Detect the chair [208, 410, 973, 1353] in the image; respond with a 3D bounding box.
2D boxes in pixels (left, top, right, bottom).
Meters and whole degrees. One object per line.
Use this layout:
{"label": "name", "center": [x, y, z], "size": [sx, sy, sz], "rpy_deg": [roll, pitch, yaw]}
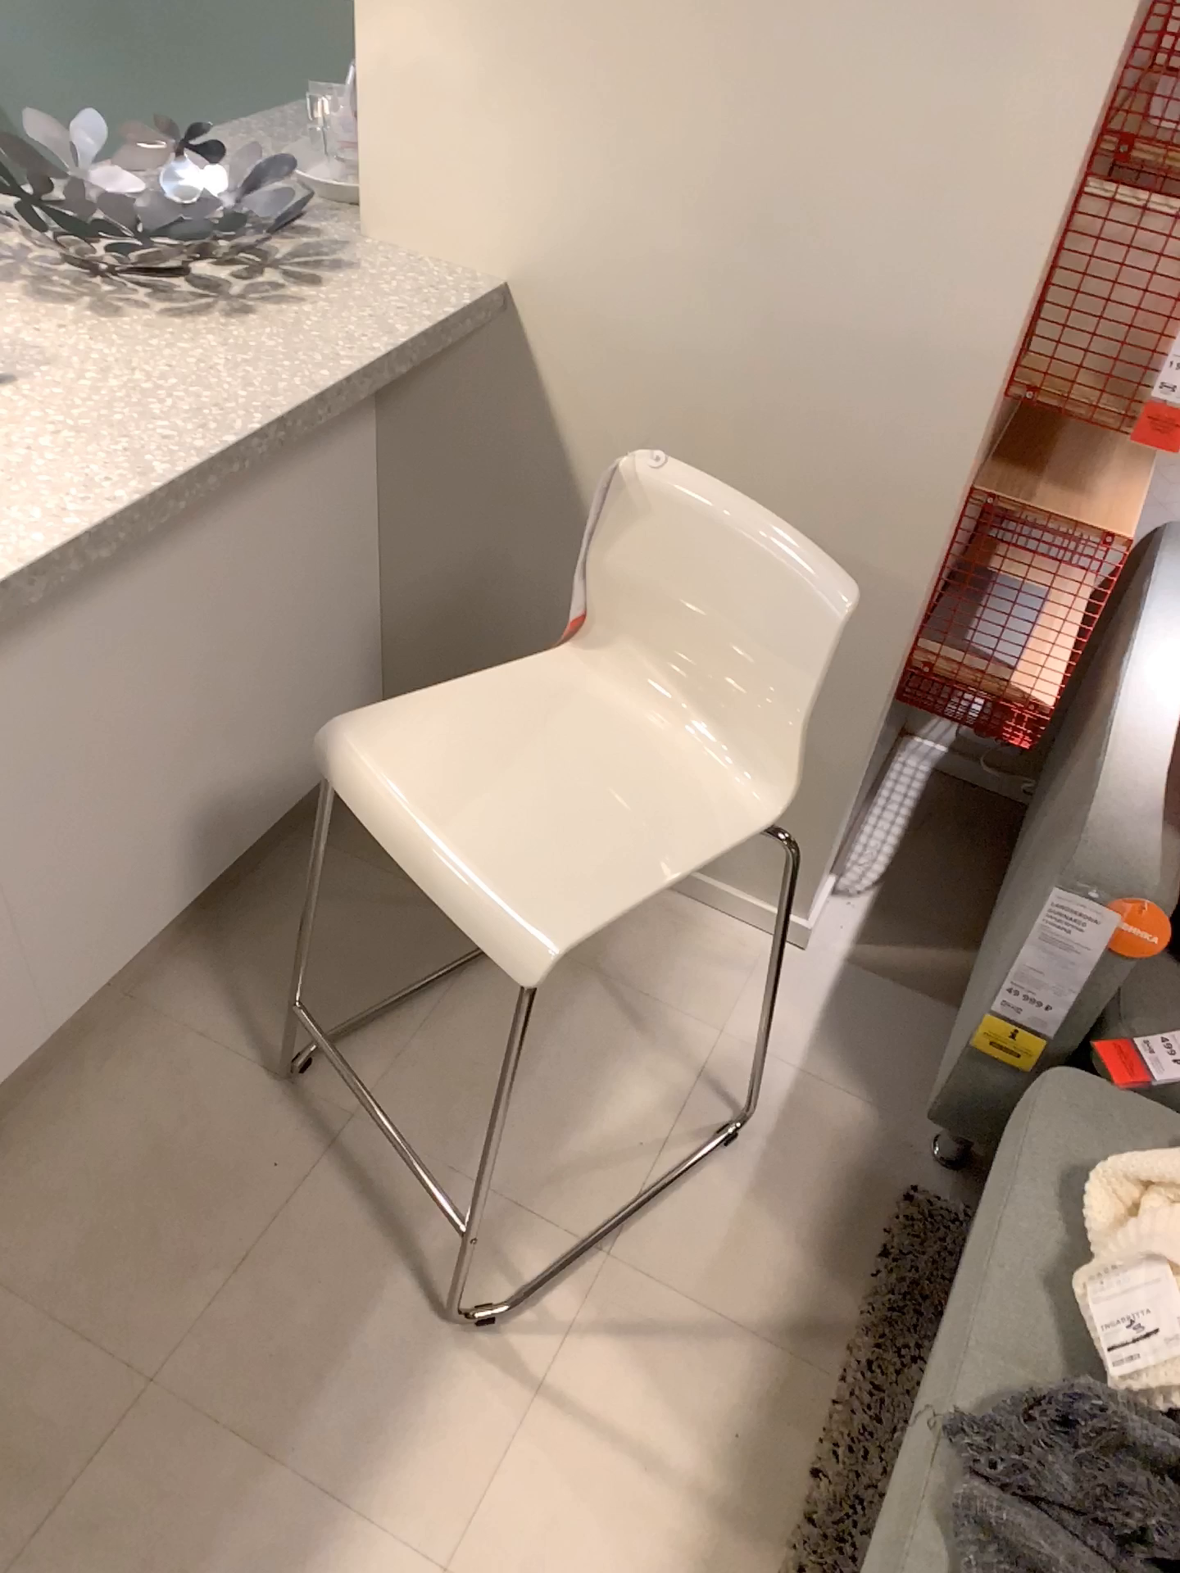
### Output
{"label": "chair", "center": [-0.050, 0.129, 1.460], "size": [0.542, 0.905, 0.511], "rpy_deg": [-24, 52, -30]}
